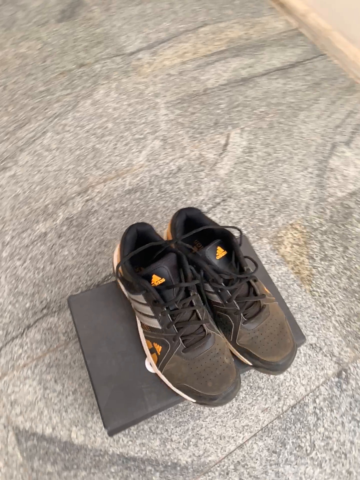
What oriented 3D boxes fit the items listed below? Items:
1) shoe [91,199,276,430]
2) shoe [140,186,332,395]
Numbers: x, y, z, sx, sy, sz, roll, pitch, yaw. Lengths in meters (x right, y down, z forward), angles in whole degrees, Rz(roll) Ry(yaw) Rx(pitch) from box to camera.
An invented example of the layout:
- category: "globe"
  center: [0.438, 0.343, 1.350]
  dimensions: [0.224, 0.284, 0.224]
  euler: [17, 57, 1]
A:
- category: "shoe"
  center: [-0.010, 0.094, 0.521]
  dimensions: [0.110, 0.090, 0.291]
  euler: [-25, 66, -20]
- category: "shoe"
  center: [0.071, 0.071, 0.570]
  dimensions: [0.110, 0.090, 0.301]
  euler: [-33, 69, -15]
